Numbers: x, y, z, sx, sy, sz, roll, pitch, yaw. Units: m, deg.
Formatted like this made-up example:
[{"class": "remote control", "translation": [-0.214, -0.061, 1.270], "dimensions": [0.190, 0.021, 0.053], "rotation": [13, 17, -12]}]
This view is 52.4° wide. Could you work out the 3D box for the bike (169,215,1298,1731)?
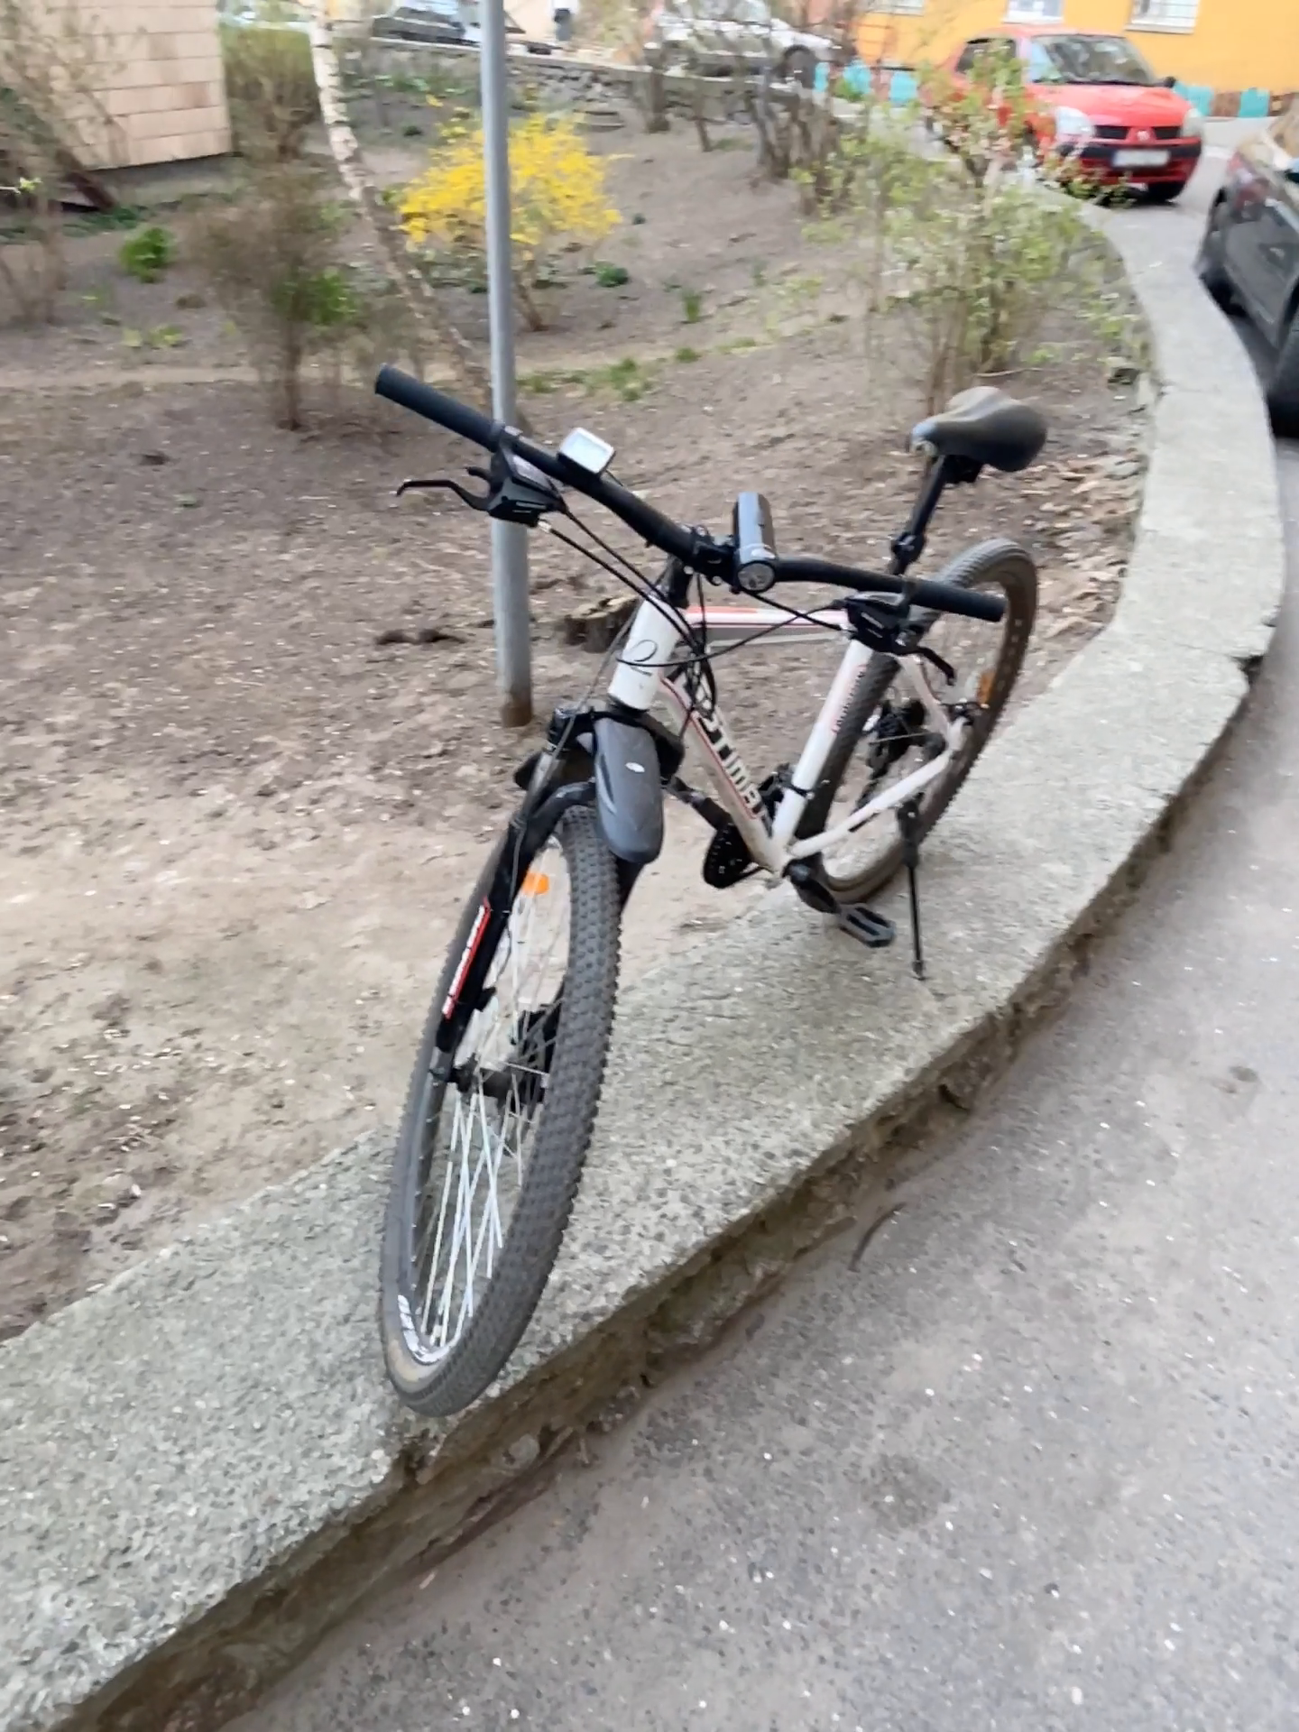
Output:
[{"class": "bike", "translation": [0.322, -0.071, 1.813], "dimensions": [0.679, 1.143, 1.760], "rotation": [20, 40, 24]}]
